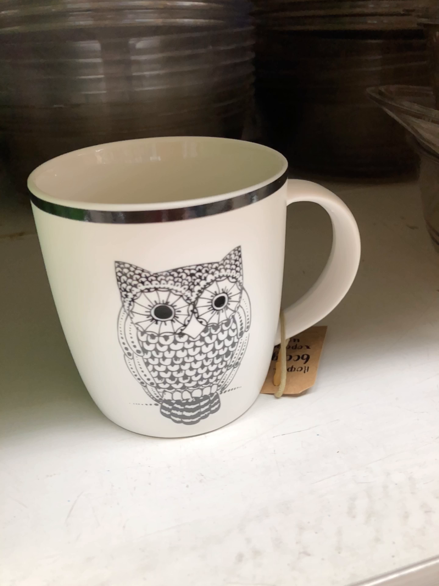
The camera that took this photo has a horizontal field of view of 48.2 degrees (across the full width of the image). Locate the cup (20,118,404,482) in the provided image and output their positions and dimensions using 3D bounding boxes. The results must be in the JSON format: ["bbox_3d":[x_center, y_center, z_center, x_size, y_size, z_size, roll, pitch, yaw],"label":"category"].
[{"bbox_3d":[-0.006,-0.007,0.189,0.110,0.093,0.077,-13,30,-18],"label":"cup"}]
